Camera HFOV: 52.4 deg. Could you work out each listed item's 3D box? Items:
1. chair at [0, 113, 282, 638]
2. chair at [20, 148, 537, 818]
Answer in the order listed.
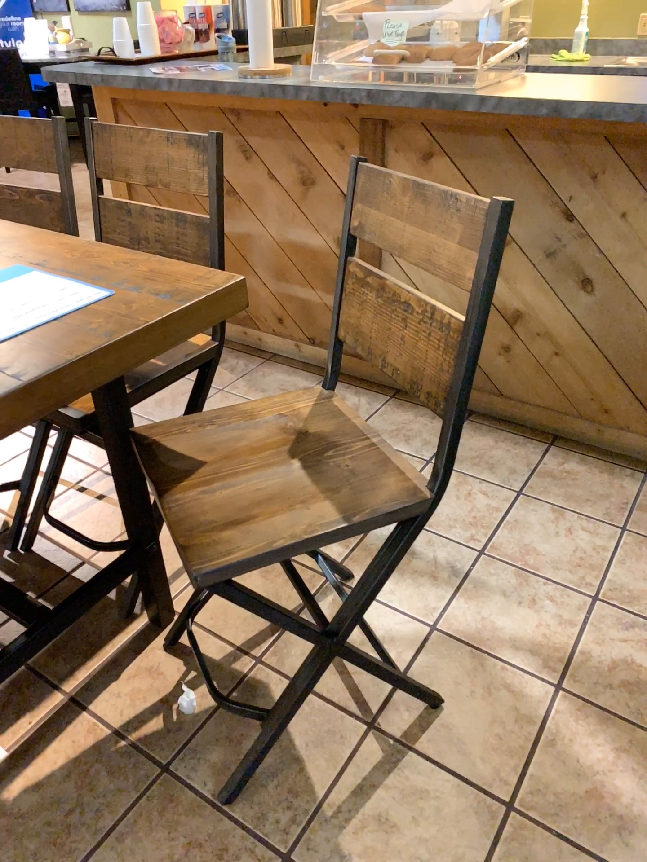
[{"bbox_3d":[-0.521,-0.148,1.588,0.493,1.003,0.617,20,41,29],"label":"chair"},{"bbox_3d":[-0.054,0.093,1.185,0.615,0.983,0.444,-17,34,-17],"label":"chair"}]
